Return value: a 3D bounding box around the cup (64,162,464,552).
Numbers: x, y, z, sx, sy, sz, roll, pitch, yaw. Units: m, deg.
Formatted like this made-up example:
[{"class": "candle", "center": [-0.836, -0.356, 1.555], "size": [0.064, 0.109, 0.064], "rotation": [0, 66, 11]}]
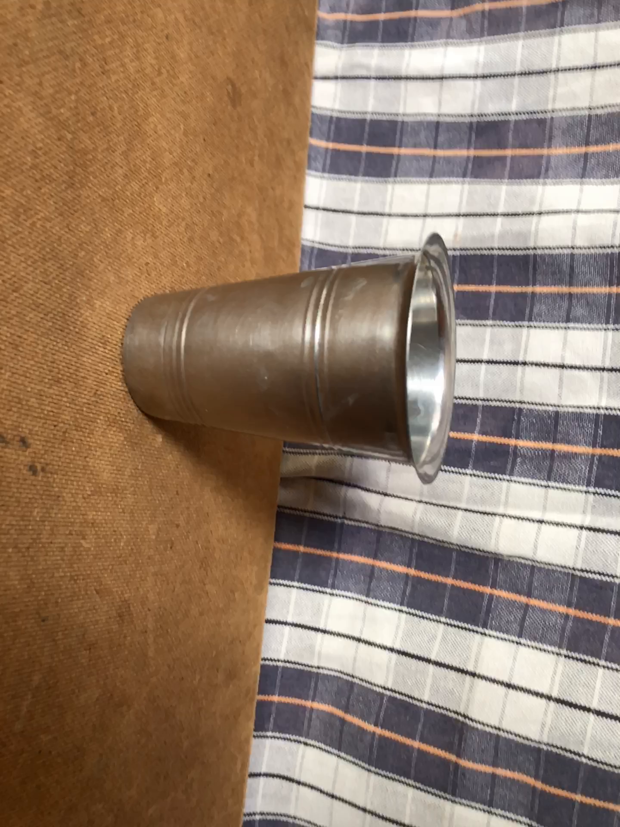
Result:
[{"class": "cup", "center": [-0.003, -0.015, 0.227], "size": [0.090, 0.089, 0.080], "rotation": [67, 31, -48]}]
